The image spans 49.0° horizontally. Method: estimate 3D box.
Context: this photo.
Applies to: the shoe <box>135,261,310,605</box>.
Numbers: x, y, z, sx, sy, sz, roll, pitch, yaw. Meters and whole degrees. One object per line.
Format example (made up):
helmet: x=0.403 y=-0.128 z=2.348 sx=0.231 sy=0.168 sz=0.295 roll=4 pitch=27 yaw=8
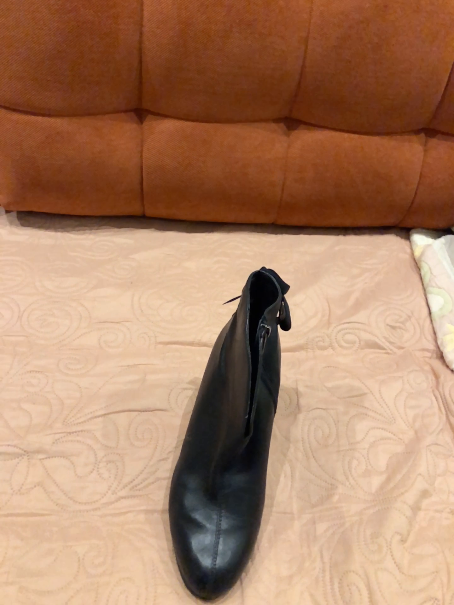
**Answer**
shoe: x=0.001 y=0.108 z=0.410 sx=0.095 sy=0.169 sz=0.222 roll=10 pitch=45 yaw=1
